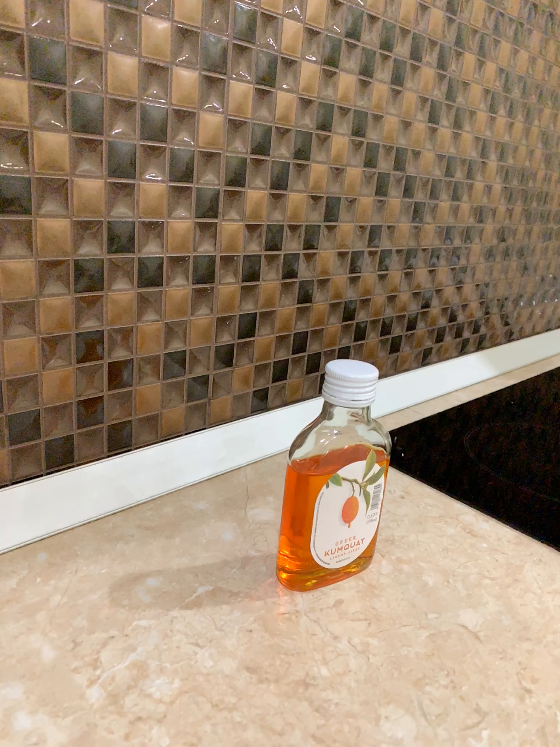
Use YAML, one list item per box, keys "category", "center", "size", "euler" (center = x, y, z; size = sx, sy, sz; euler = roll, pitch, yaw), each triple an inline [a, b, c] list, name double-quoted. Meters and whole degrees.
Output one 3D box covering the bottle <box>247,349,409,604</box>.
- category: "bottle"
  center: [0.026, 0.058, 0.341]
  size: [0.070, 0.133, 0.040]
  euler: [-6, 22, -32]
